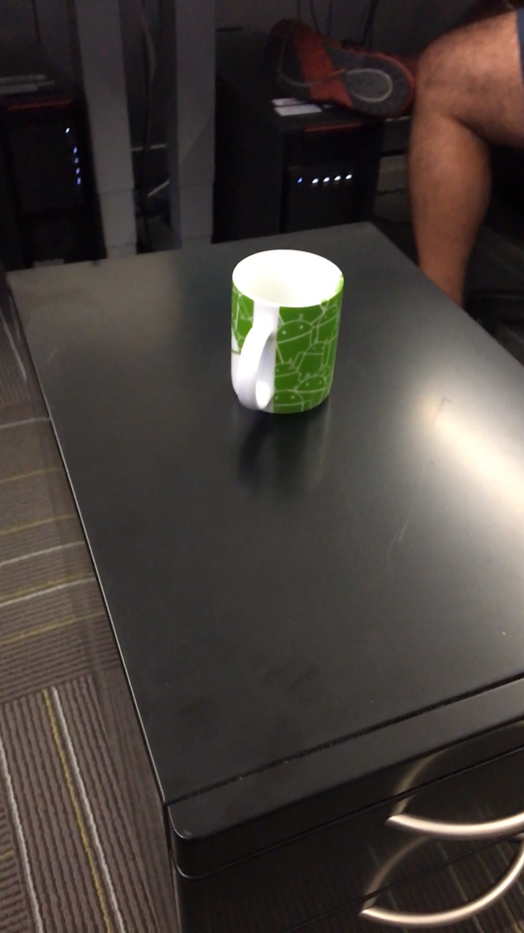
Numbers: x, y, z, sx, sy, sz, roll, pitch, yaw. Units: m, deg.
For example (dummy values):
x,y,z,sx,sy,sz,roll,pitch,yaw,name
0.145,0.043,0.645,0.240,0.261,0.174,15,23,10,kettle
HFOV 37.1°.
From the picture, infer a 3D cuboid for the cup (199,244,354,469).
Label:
x,y,z,sx,sy,sz,roll,pitch,yaw,name
0.011,-0.085,0.592,0.090,0.110,0.120,10,42,7,cup
